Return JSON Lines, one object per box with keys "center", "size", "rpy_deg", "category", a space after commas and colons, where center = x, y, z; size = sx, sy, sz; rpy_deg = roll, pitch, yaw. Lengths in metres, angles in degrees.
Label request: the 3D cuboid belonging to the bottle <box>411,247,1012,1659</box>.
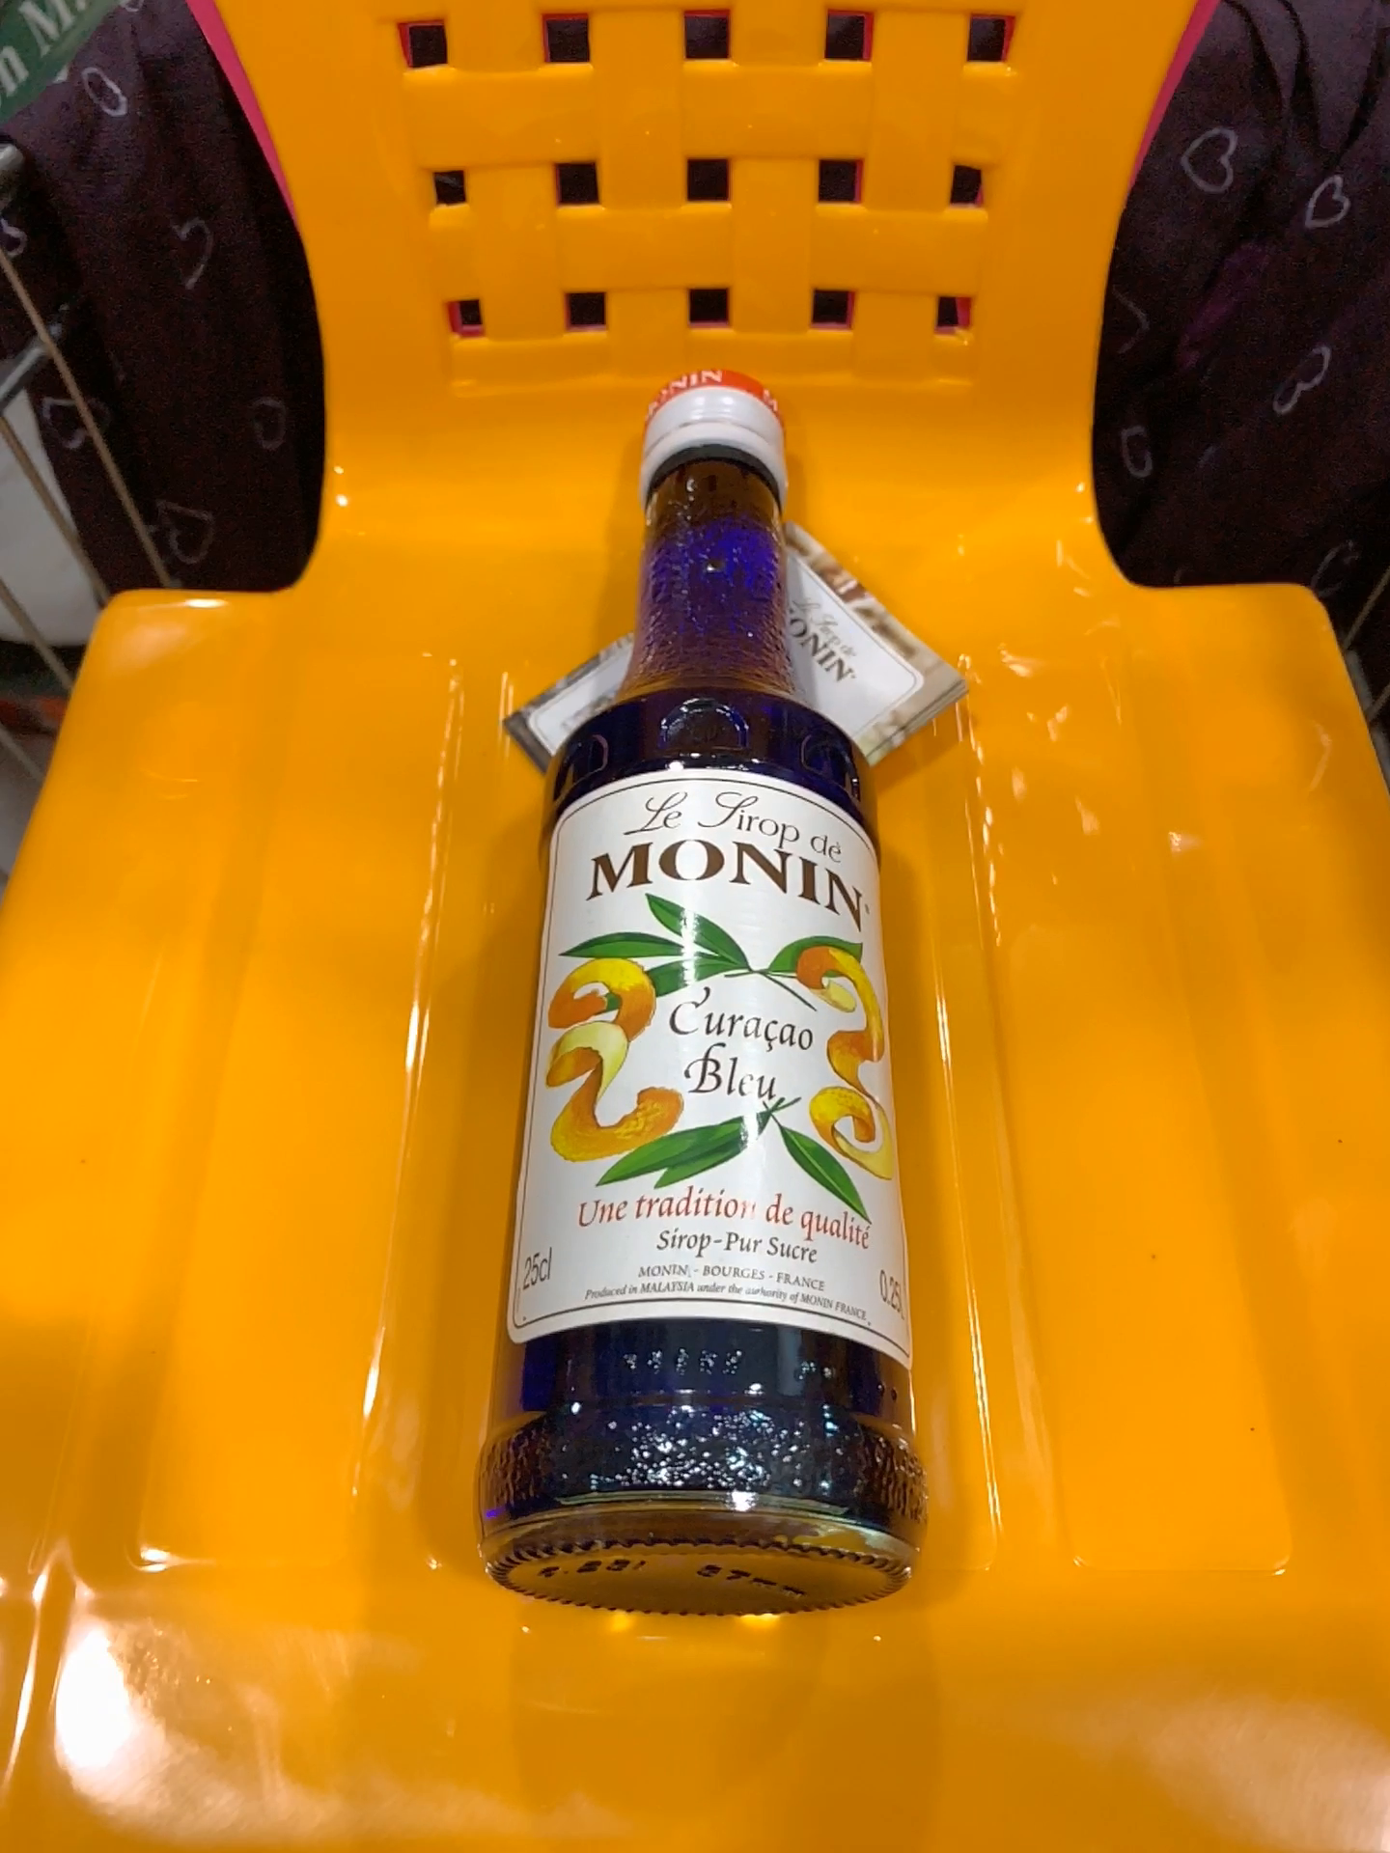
{"center": [0.004, -0.014, 0.223], "size": [0.060, 0.050, 0.220], "rpy_deg": [5, 57, -4], "category": "bottle"}
